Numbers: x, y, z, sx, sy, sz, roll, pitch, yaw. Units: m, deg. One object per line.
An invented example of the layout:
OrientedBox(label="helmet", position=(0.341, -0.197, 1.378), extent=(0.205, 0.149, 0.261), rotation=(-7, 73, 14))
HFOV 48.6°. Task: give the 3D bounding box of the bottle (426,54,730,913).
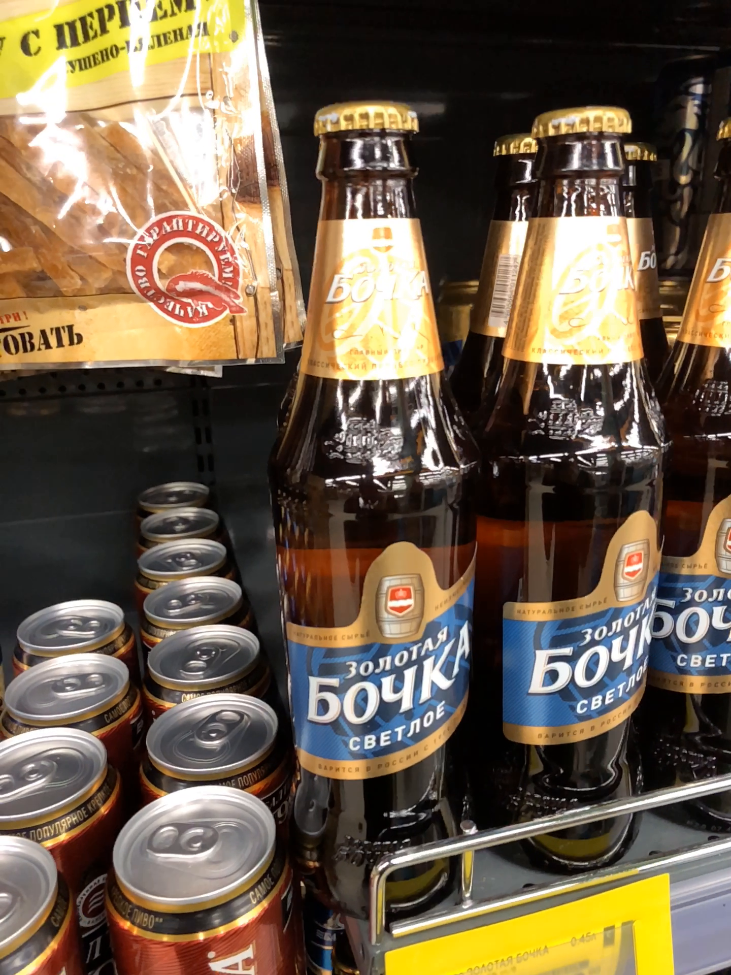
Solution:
OrientedBox(label="bottle", position=(0.065, 0.004, 0.252), extent=(0.070, 0.234, 0.060), rotation=(-11, 20, -28))

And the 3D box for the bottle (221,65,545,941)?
OrientedBox(label="bottle", position=(0.004, 0.011, 0.242), extent=(0.070, 0.234, 0.070), rotation=(-1, 18, 0))
